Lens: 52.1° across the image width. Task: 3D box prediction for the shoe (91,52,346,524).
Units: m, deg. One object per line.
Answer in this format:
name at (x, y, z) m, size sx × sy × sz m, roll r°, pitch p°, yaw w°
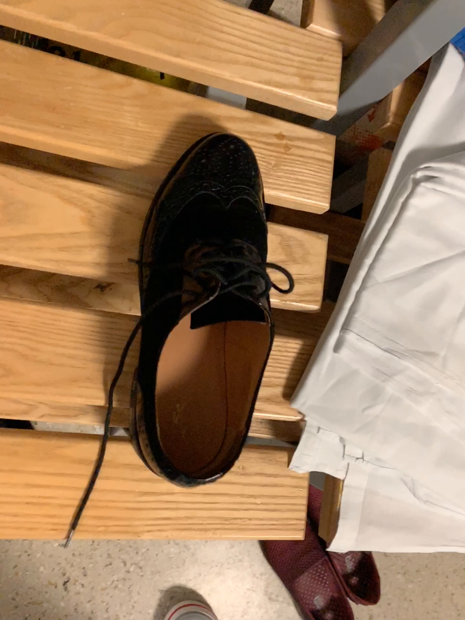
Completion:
shoe at (-0.012, -0.011, 0.311) m, size 0.099 × 0.095 × 0.250 m, roll 13°, pitch 80°, yaw -16°
